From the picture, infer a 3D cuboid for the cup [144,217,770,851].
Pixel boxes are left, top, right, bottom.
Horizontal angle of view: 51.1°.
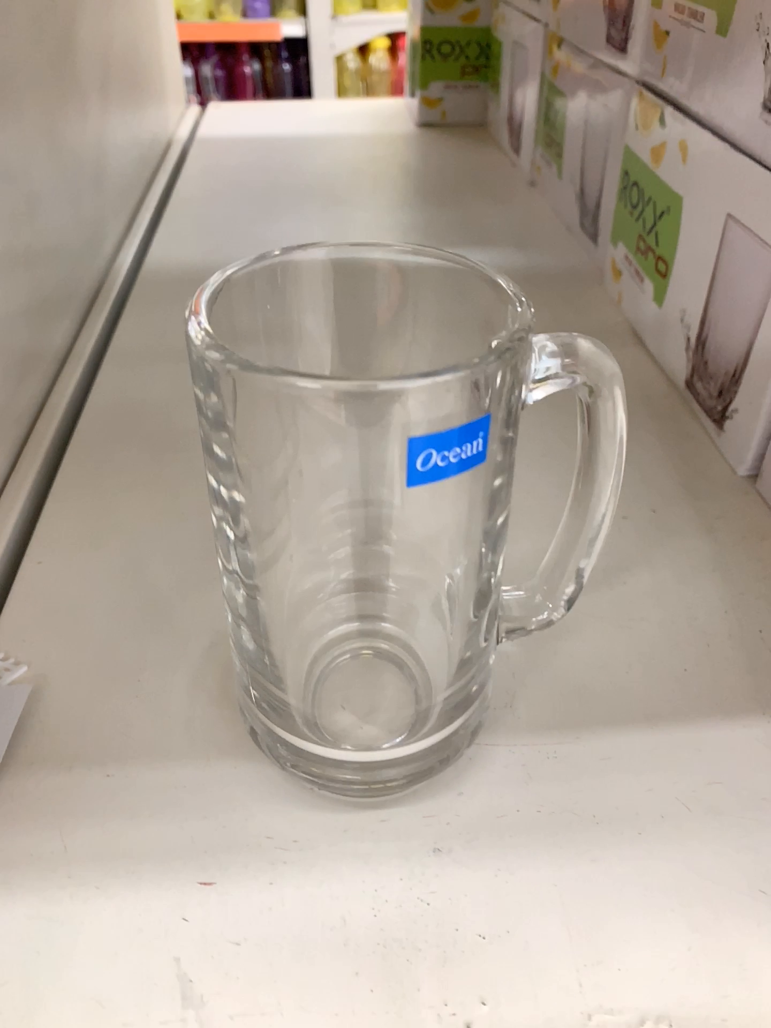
[{"bbox_3d":[0.011,0.005,0.213,0.120,0.129,0.081,-9,39,-10],"label":"cup"}]
